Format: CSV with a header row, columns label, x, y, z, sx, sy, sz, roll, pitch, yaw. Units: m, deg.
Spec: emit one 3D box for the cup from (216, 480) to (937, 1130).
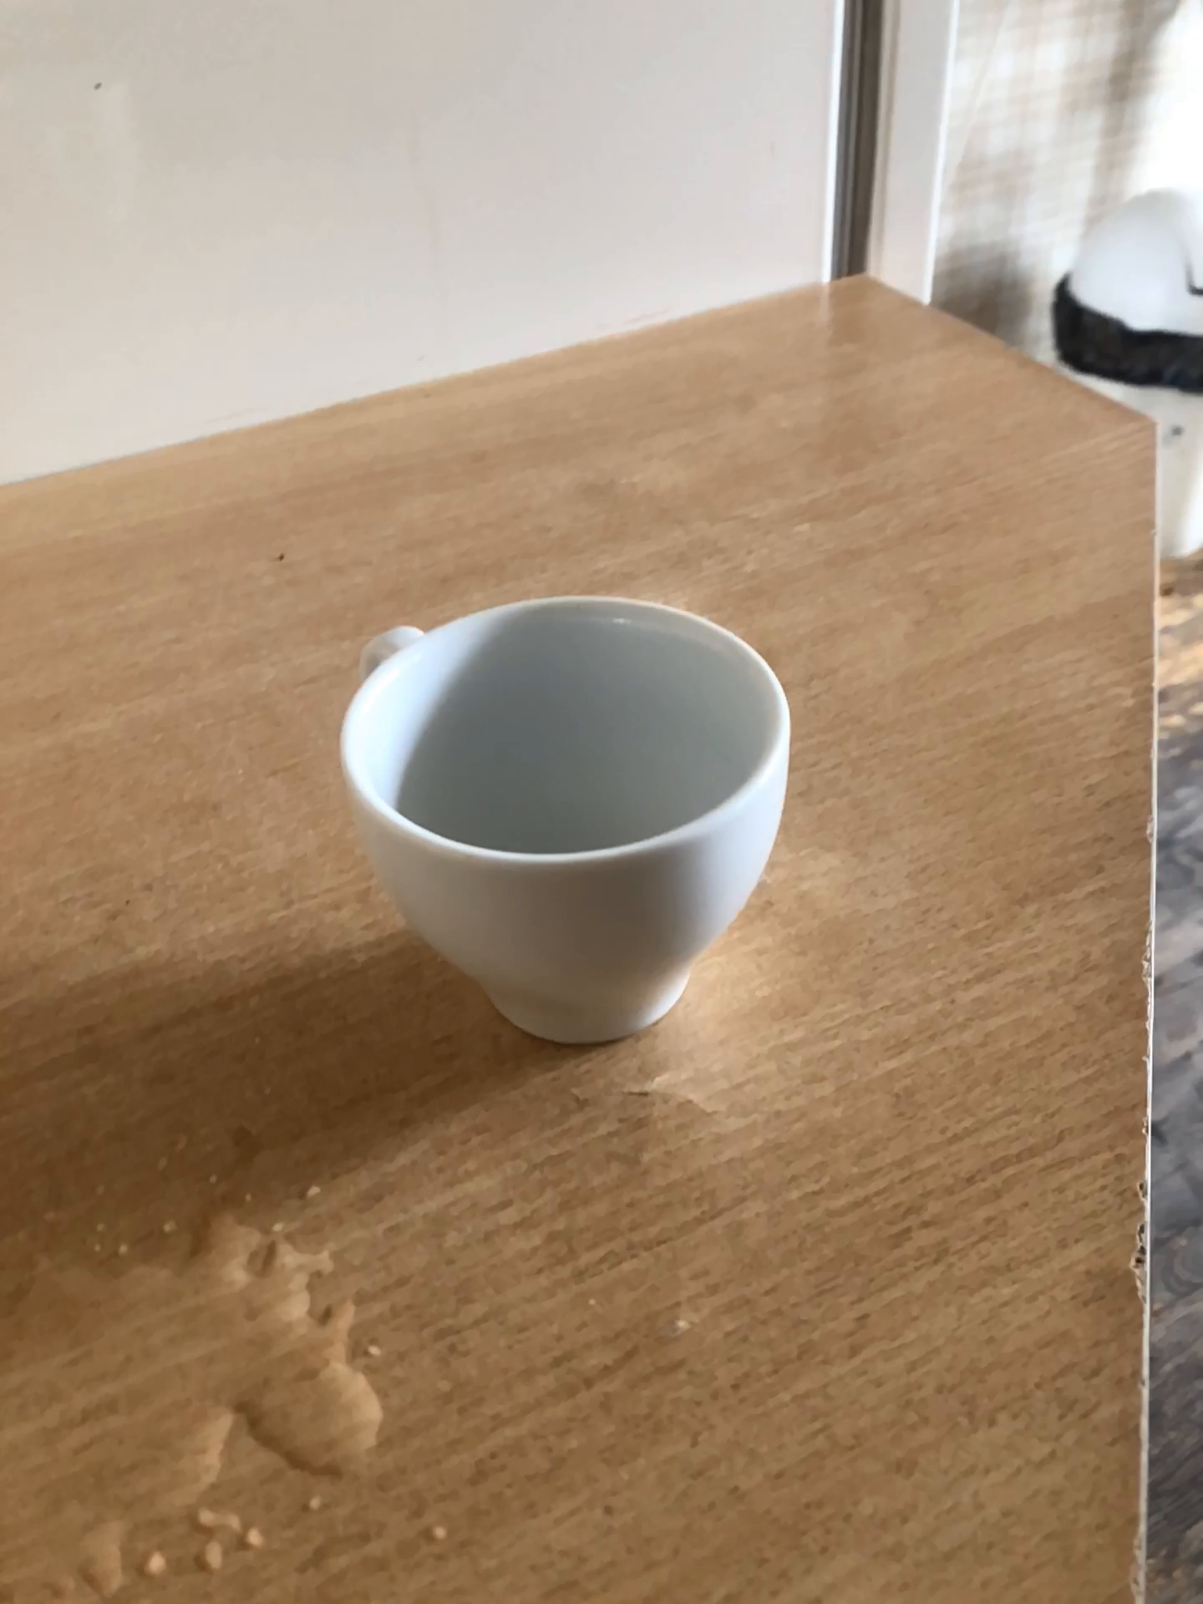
label,x,y,z,sx,sy,sz,roll,pitch,yaw
cup,-0.006,-0.008,0.253,0.080,0.050,0.104,-32,48,-28
